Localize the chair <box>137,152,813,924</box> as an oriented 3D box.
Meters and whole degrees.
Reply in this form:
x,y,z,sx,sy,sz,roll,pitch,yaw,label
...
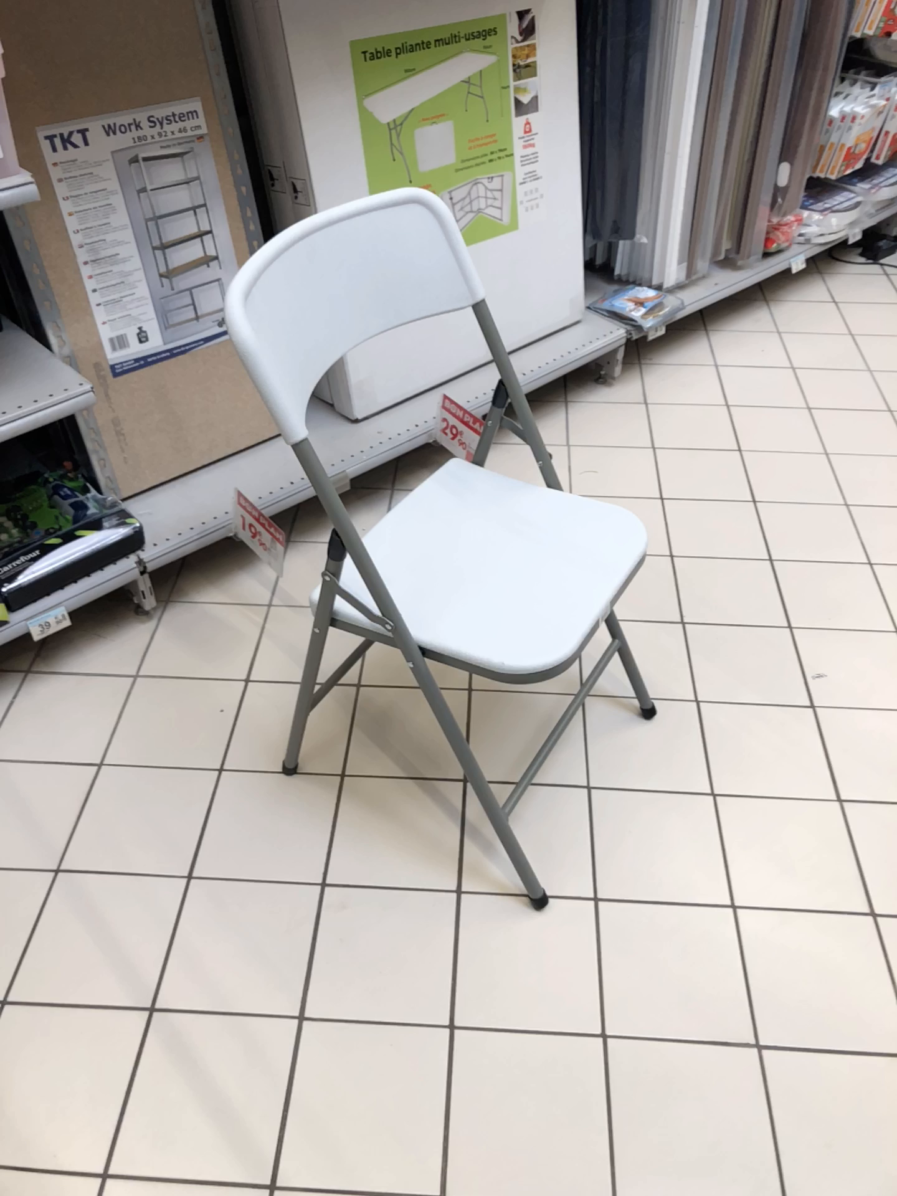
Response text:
x,y,z,sx,sy,sz,roll,pitch,yaw,label
0.053,-0.095,1.340,0.560,0.746,0.543,22,46,22,chair
